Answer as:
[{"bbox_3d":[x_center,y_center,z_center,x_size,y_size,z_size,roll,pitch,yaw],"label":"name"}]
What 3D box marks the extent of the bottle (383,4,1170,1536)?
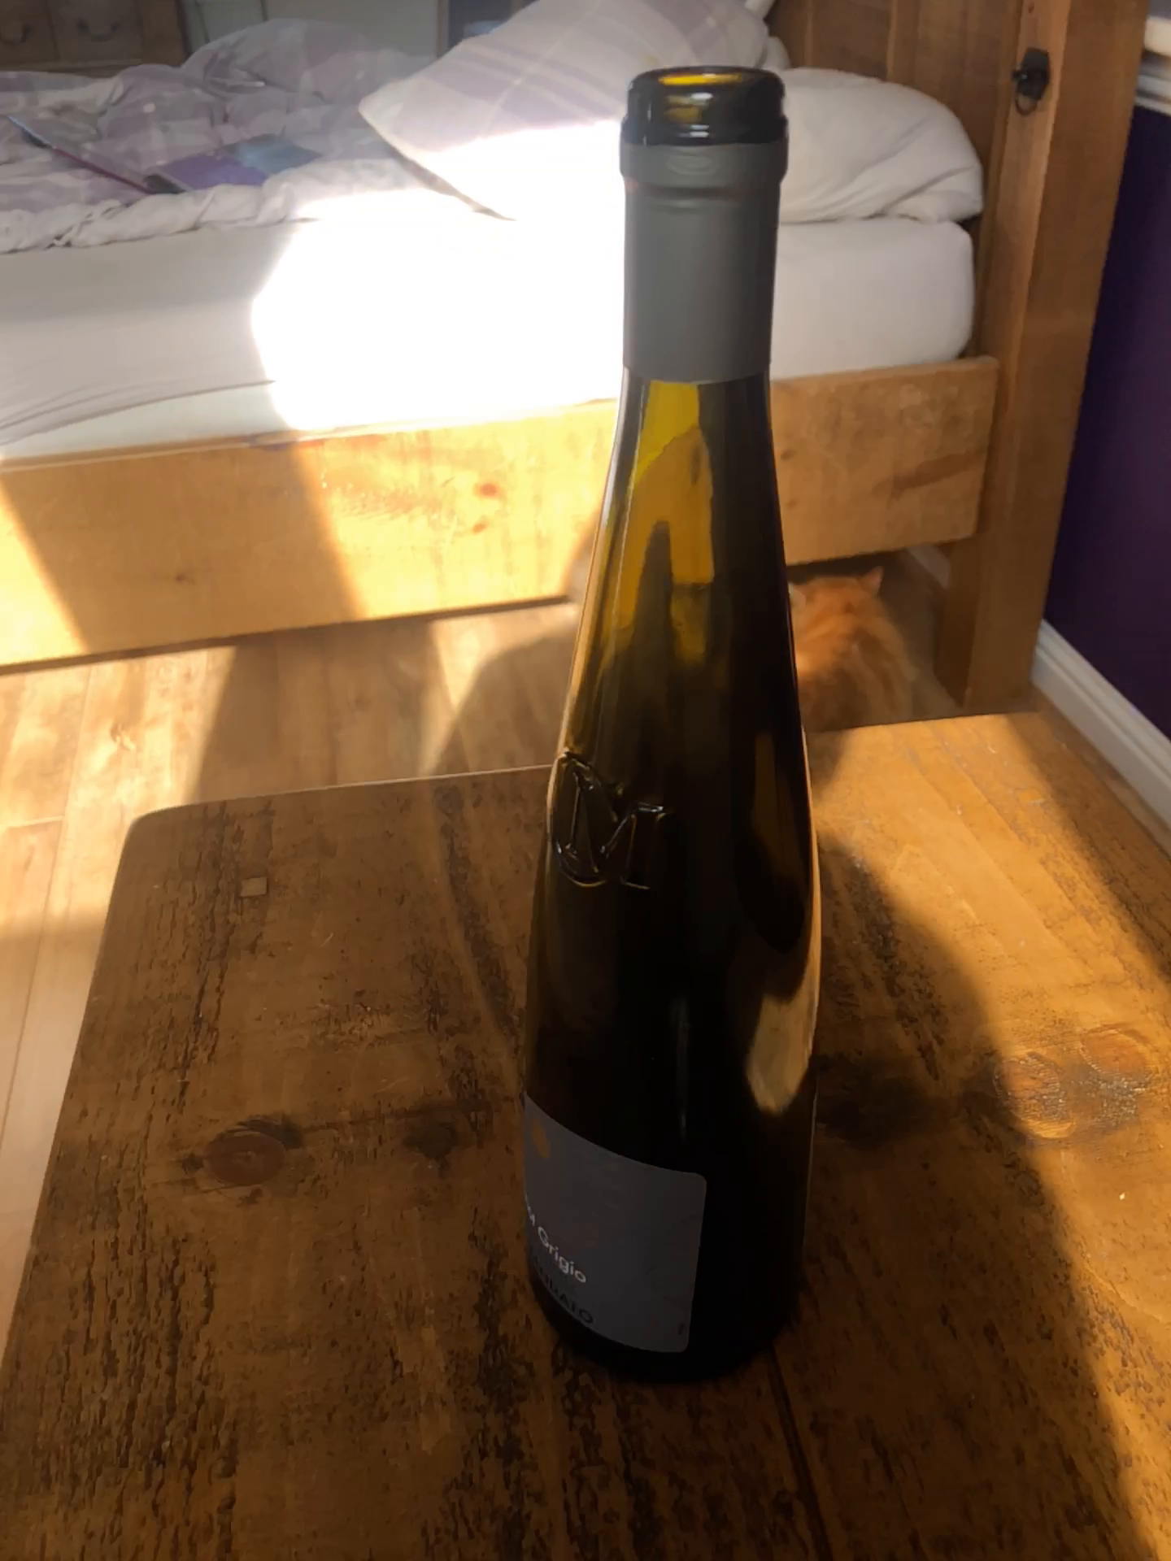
[{"bbox_3d":[0.041,0.020,0.303,0.100,0.337,0.100,-1,35,1],"label":"bottle"}]
